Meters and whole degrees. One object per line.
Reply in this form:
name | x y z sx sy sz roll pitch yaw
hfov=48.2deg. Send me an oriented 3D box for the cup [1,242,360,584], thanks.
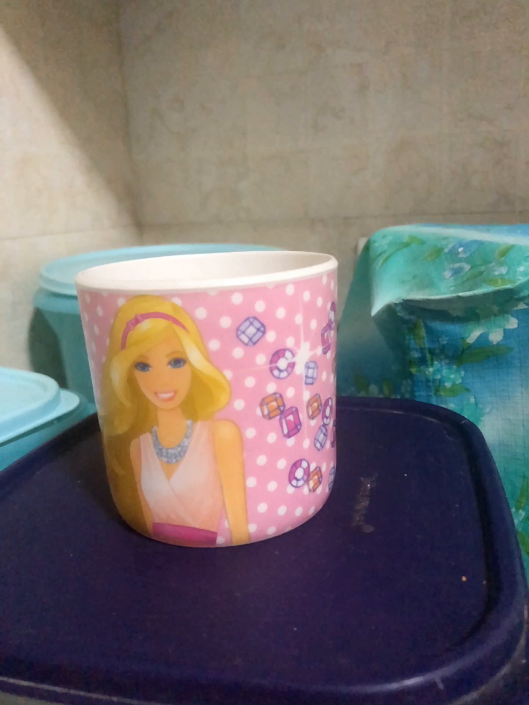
cup | -0.014 0.006 0.214 0.080 0.080 0.120 1 15 17
